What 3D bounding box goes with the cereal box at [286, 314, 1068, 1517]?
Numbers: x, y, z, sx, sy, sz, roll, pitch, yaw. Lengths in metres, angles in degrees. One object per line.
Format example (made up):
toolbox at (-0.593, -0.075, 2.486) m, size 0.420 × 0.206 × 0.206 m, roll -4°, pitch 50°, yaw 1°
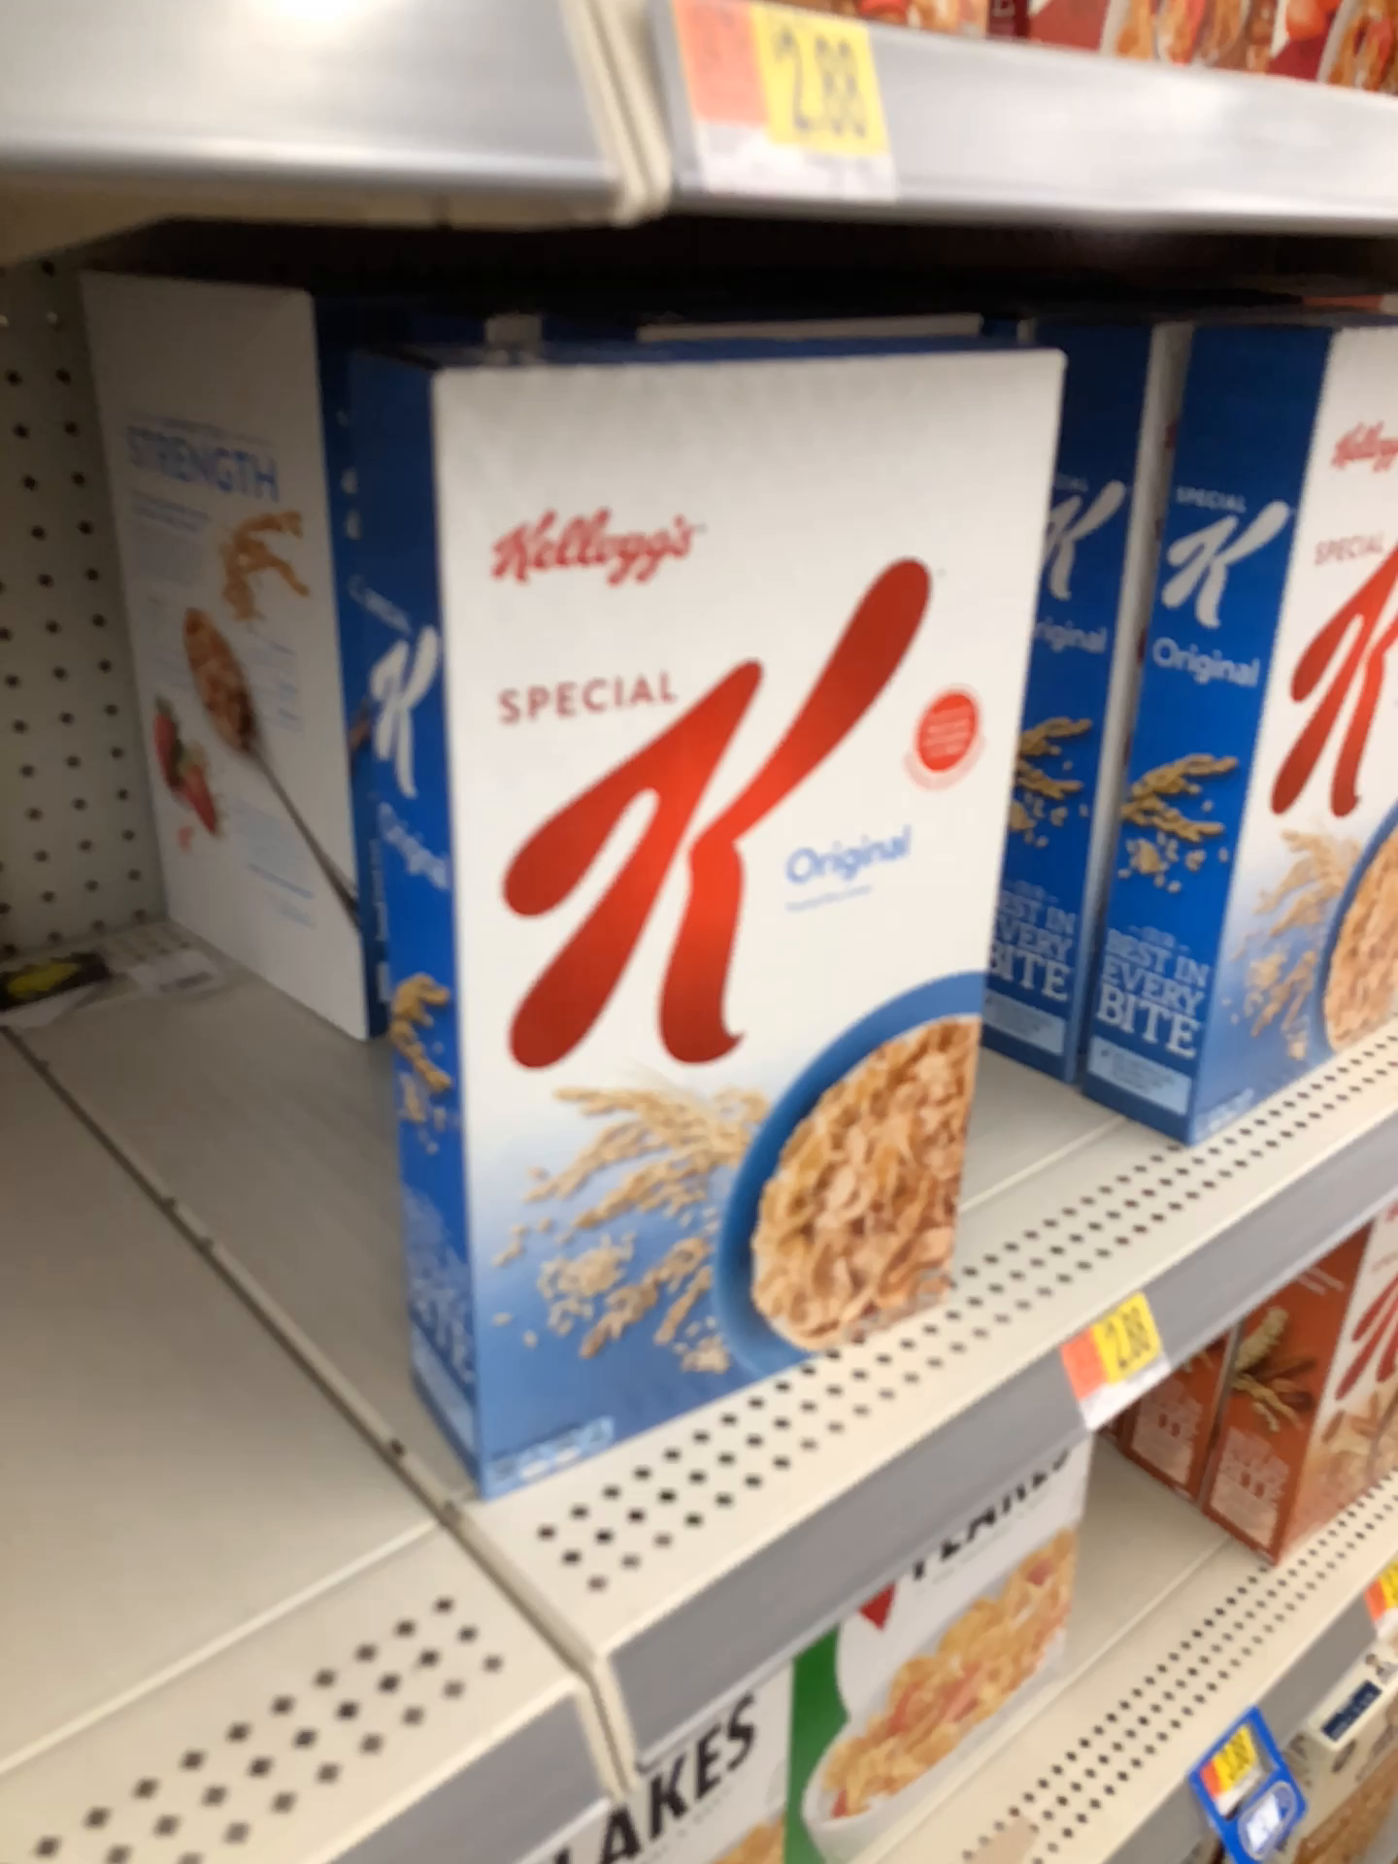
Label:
cereal box at (-0.007, -0.009, 0.463) m, size 0.190 × 0.329 × 0.080 m, roll -14°, pitch 29°, yaw -30°
